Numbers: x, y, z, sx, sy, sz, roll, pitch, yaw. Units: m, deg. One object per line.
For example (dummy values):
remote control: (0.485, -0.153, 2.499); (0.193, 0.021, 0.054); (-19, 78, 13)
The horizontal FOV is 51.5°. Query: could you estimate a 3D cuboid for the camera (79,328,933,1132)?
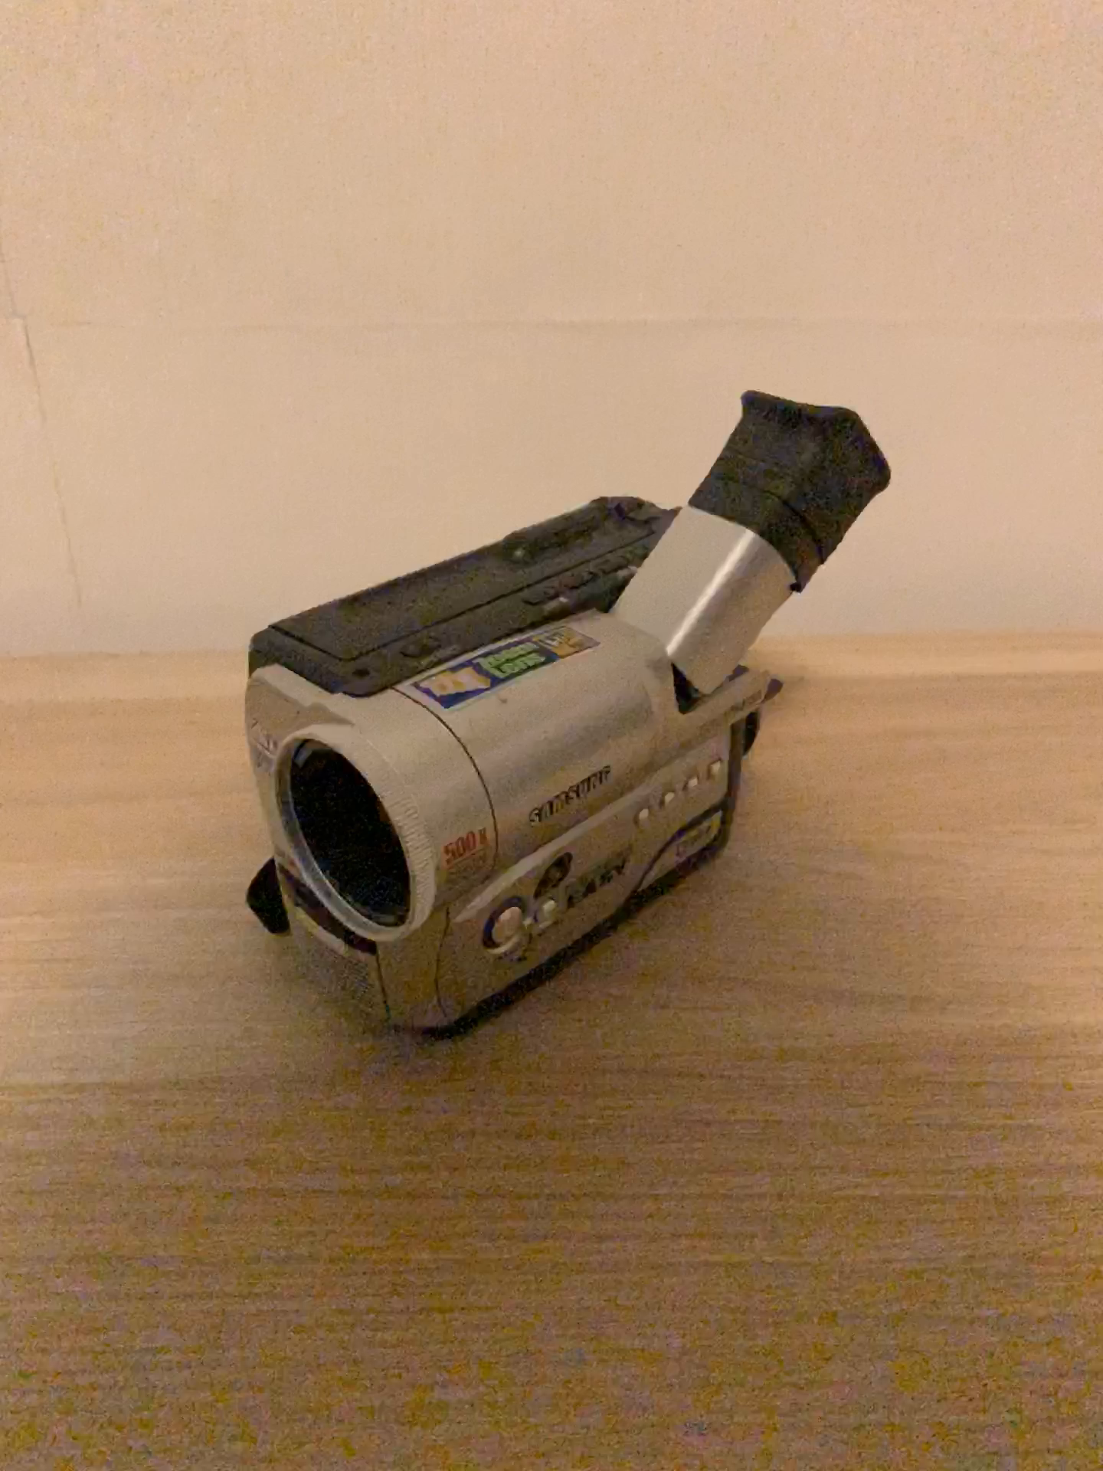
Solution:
camera: (0.000, -0.023, 0.313); (0.106, 0.133, 0.193); (24, 37, 36)
